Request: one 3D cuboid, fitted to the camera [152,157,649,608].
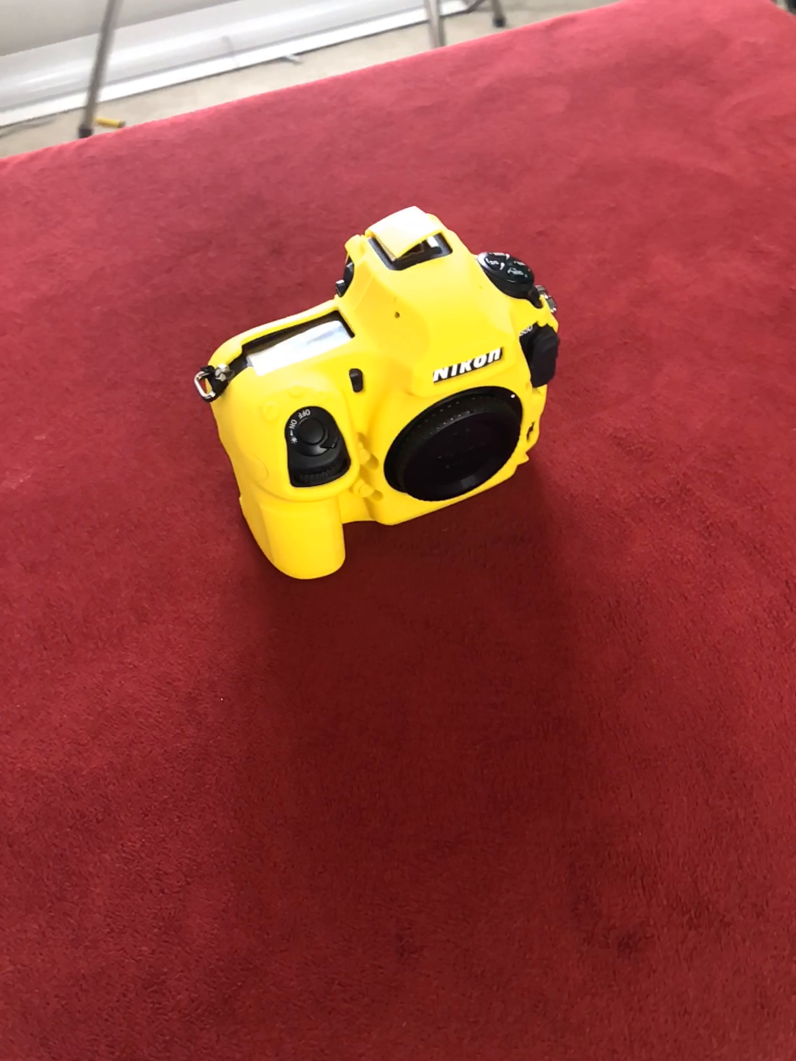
[{"bbox_3d":[0.001,-0.059,0.368,0.160,0.116,0.082,-22,57,-13],"label":"camera"}]
